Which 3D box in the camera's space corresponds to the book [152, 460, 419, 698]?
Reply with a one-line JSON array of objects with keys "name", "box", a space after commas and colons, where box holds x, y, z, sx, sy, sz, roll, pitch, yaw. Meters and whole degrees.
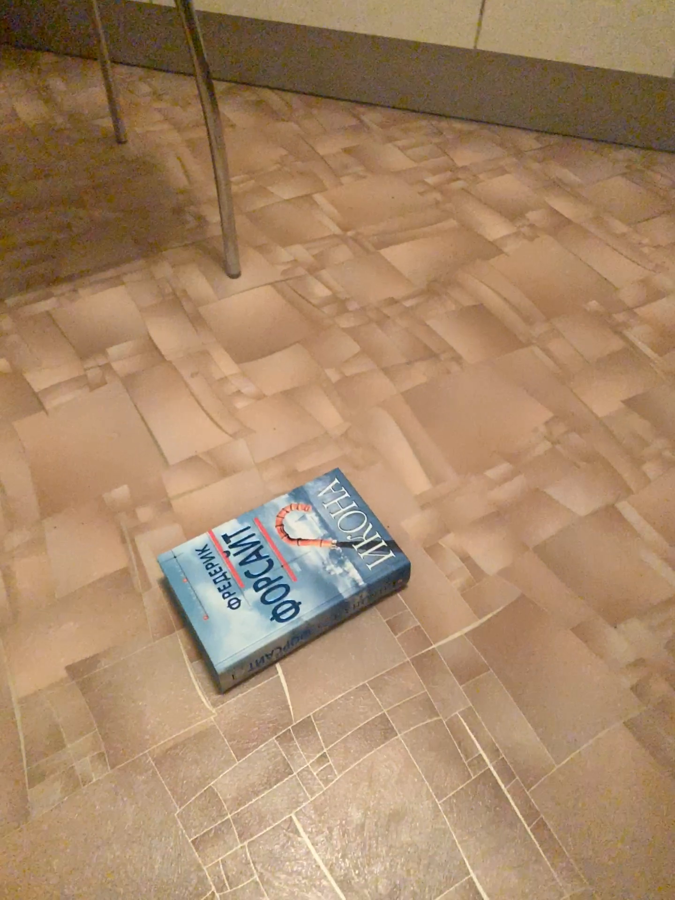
[{"name": "book", "box": [-0.053, 0.124, 0.716, 0.223, 0.056, 0.153, -25, 57, -22]}]
